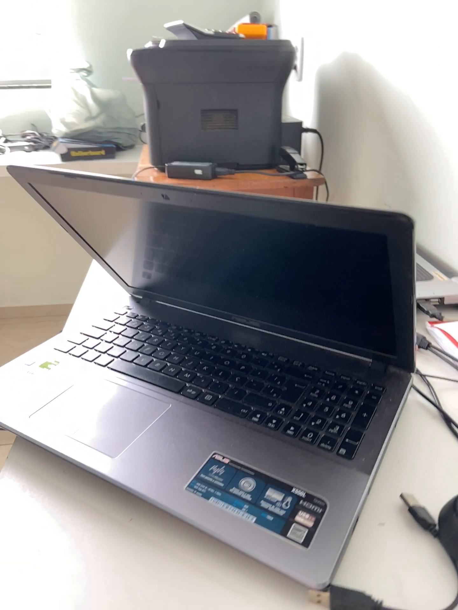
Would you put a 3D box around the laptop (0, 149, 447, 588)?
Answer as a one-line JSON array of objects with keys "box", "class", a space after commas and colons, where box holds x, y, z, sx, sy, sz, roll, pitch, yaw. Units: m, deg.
[{"box": [-0.044, -0.009, 0.410, 0.365, 0.190, 0.246, 14, 30, 28], "class": "laptop"}]
